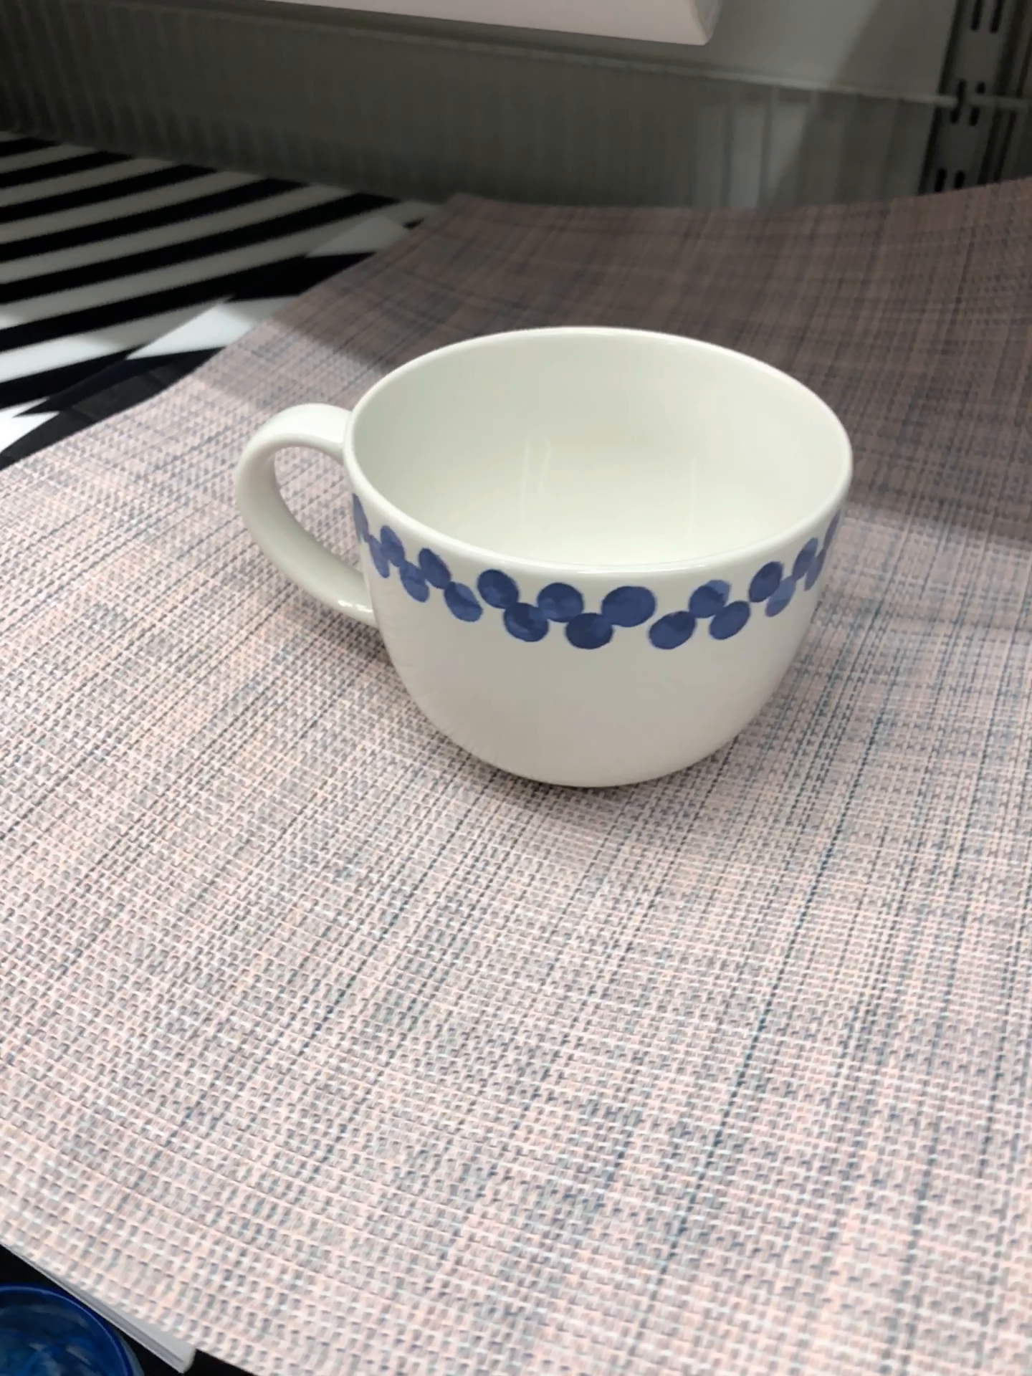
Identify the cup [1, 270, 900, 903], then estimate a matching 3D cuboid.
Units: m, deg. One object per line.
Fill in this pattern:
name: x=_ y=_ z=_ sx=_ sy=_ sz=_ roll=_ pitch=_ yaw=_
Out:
cup: x=-0.005 y=-0.033 z=0.251 sx=0.150 sy=0.060 sz=0.110 roll=13 pitch=41 yaw=15
